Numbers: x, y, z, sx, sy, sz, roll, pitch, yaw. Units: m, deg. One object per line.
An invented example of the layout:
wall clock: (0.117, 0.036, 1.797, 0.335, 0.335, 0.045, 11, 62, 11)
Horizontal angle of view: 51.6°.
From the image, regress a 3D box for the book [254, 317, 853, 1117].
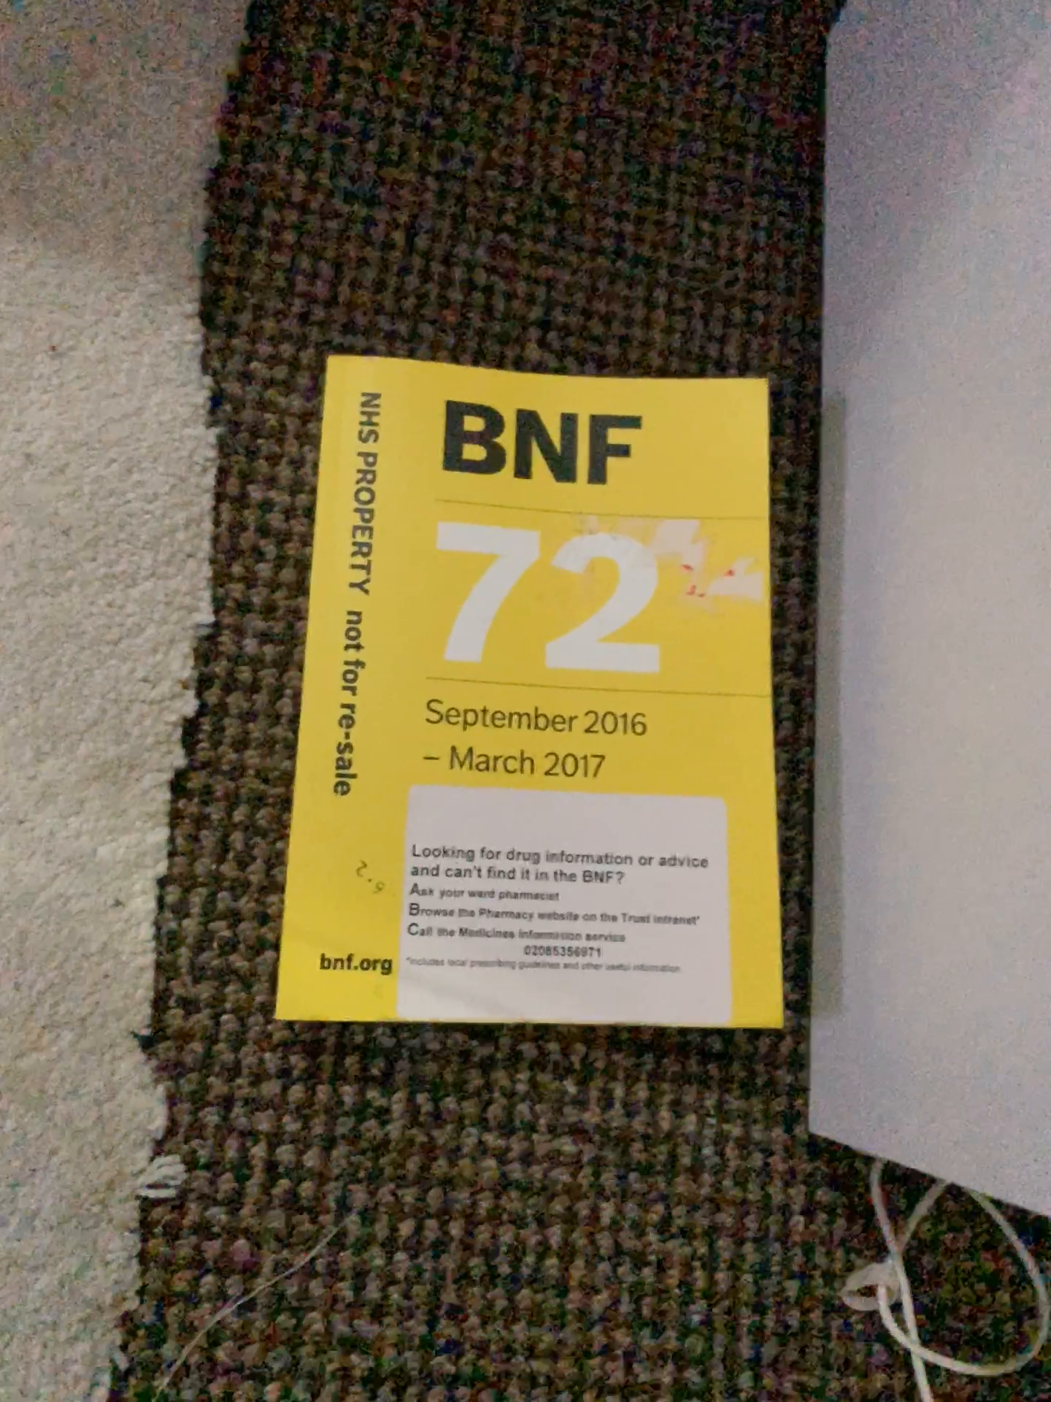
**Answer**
book: (0.008, 0.005, 0.332, 0.160, 0.050, 0.220, 3, 76, -11)
